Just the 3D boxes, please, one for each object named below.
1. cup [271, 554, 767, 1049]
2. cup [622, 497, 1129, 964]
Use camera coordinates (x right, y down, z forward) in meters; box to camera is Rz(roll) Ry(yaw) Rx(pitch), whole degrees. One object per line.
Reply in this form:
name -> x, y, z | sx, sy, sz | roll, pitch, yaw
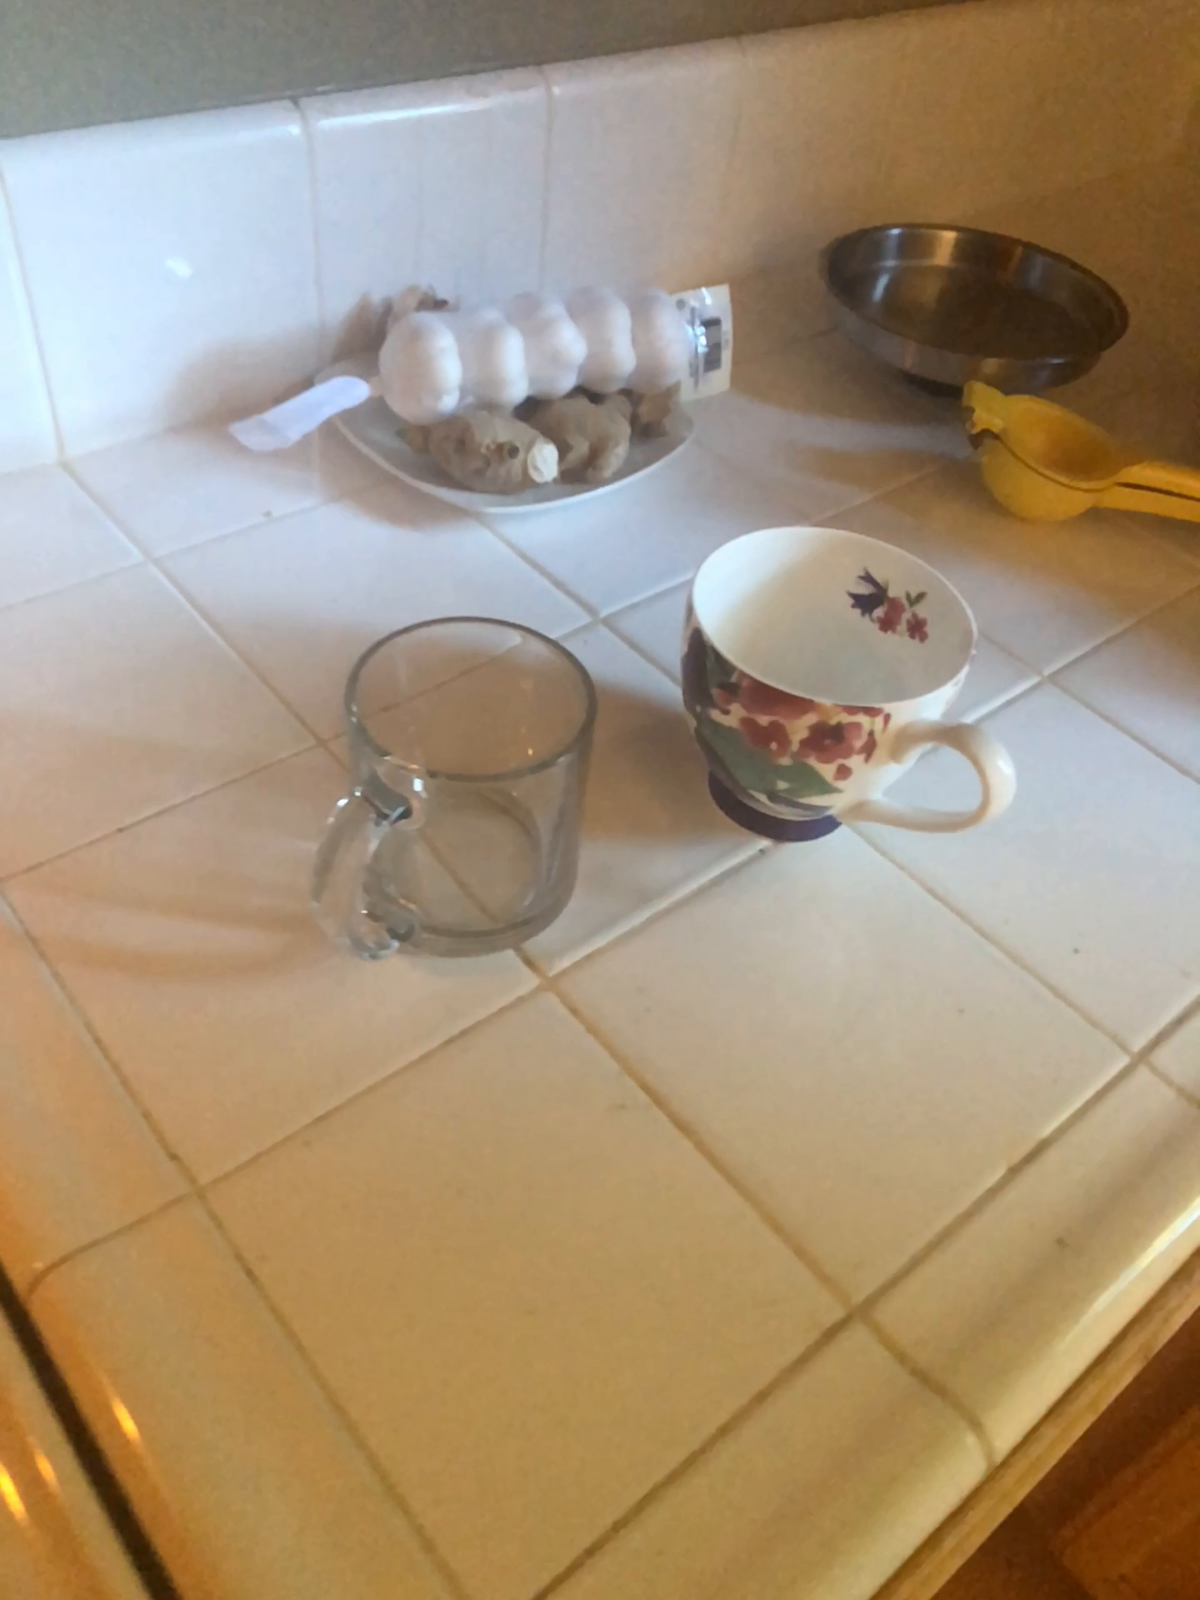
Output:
cup -> -0.027, -0.005, 0.460 | 0.100, 0.079, 0.131 | 35, 51, 24
cup -> 0.097, -0.033, 0.505 | 0.111, 0.079, 0.141 | -22, 53, -27
